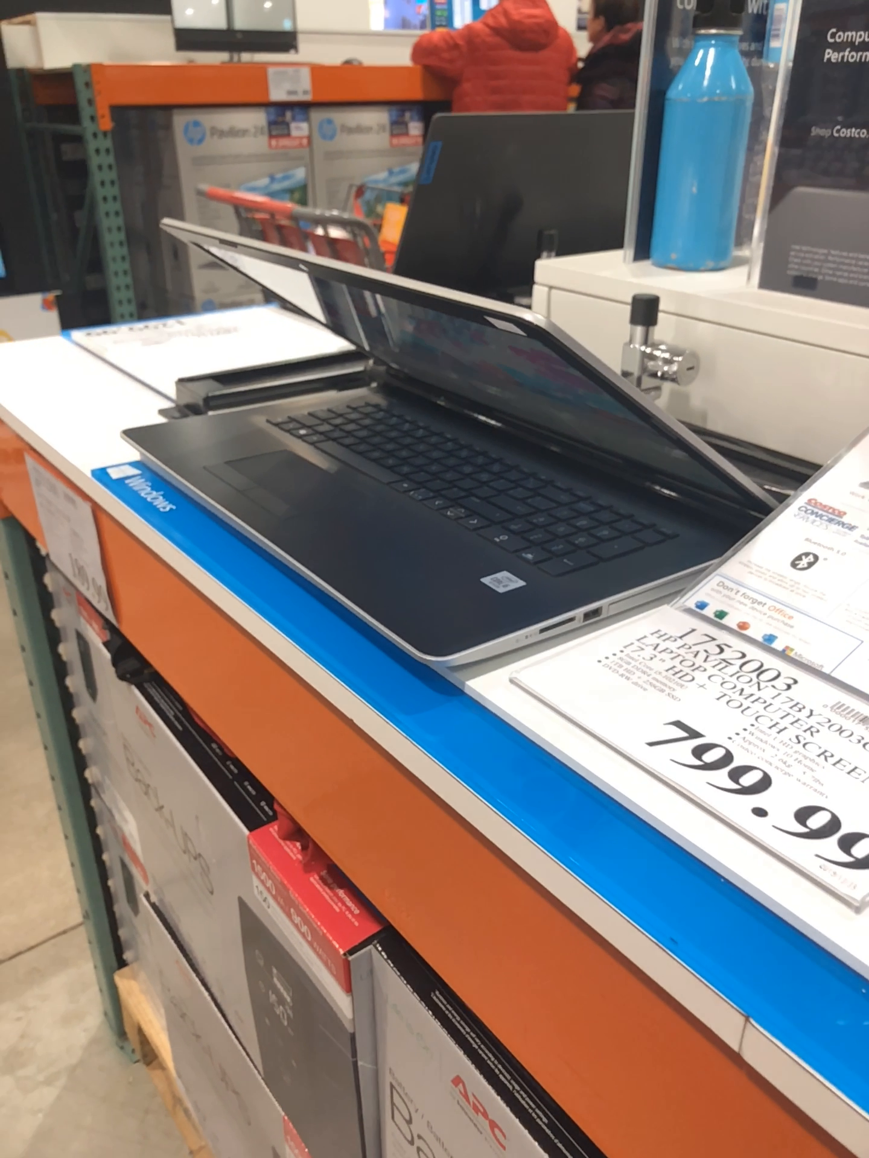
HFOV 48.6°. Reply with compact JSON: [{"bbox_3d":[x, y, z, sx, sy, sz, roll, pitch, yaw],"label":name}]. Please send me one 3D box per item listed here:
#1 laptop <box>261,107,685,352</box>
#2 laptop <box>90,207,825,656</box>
[{"bbox_3d":[0.039,-0.429,1.122,0.340,0.212,0.332,-19,33,-33],"label":"laptop"},{"bbox_3d":[-0.017,-0.138,0.616,0.257,0.150,0.407,-17,31,-31],"label":"laptop"}]
